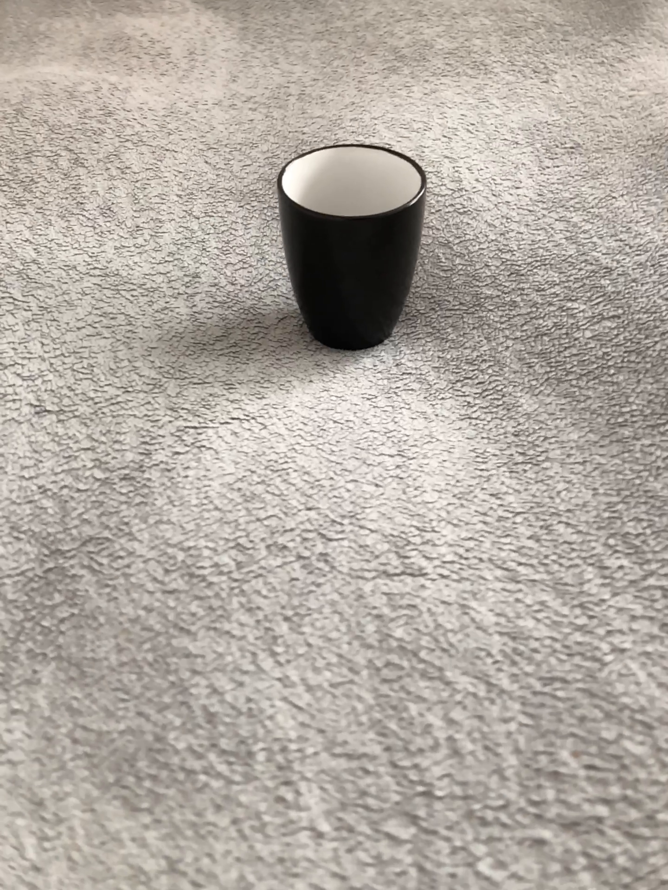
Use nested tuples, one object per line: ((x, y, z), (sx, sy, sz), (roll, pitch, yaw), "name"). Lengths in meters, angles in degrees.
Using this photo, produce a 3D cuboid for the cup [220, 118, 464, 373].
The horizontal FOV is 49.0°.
((0.010, -0.129, 0.458), (0.090, 0.089, 0.128), (21, 50, 23), "cup")
